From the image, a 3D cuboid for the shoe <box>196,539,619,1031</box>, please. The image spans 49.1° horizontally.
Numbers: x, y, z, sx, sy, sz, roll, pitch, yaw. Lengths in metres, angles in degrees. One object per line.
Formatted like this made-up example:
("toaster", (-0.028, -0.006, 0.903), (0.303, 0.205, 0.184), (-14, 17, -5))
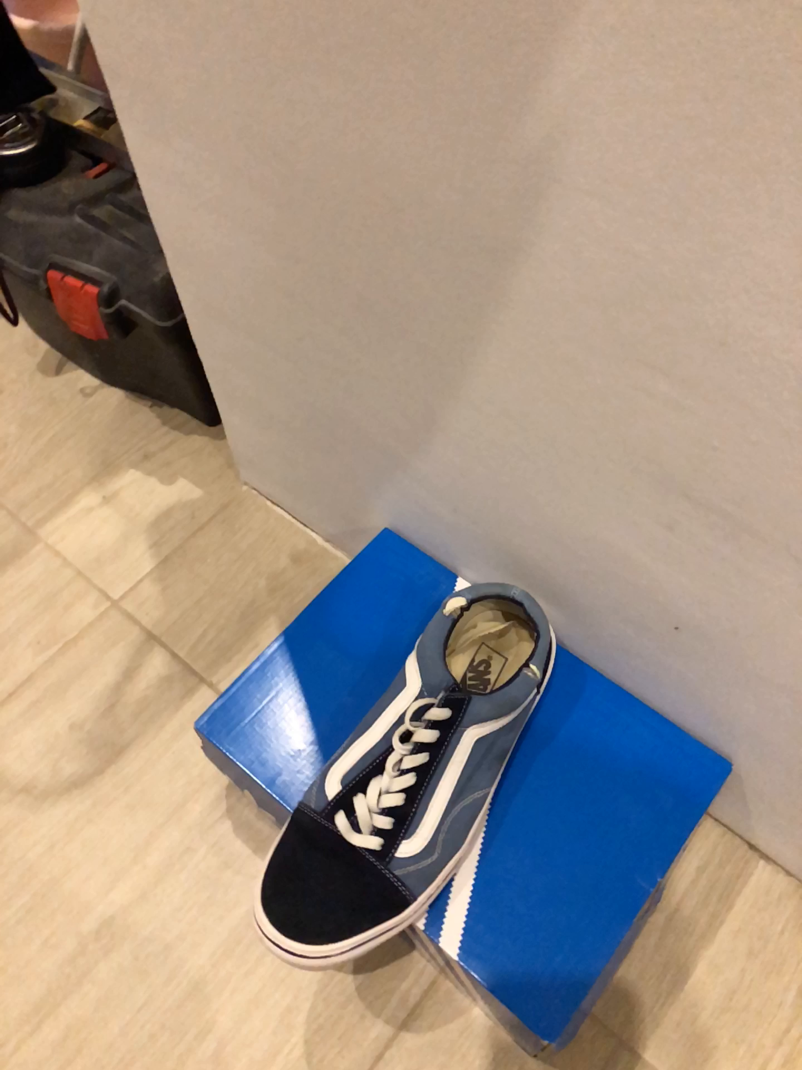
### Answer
("shoe", (0.015, 0.147, 0.563), (0.110, 0.080, 0.281), (31, 63, 21))
